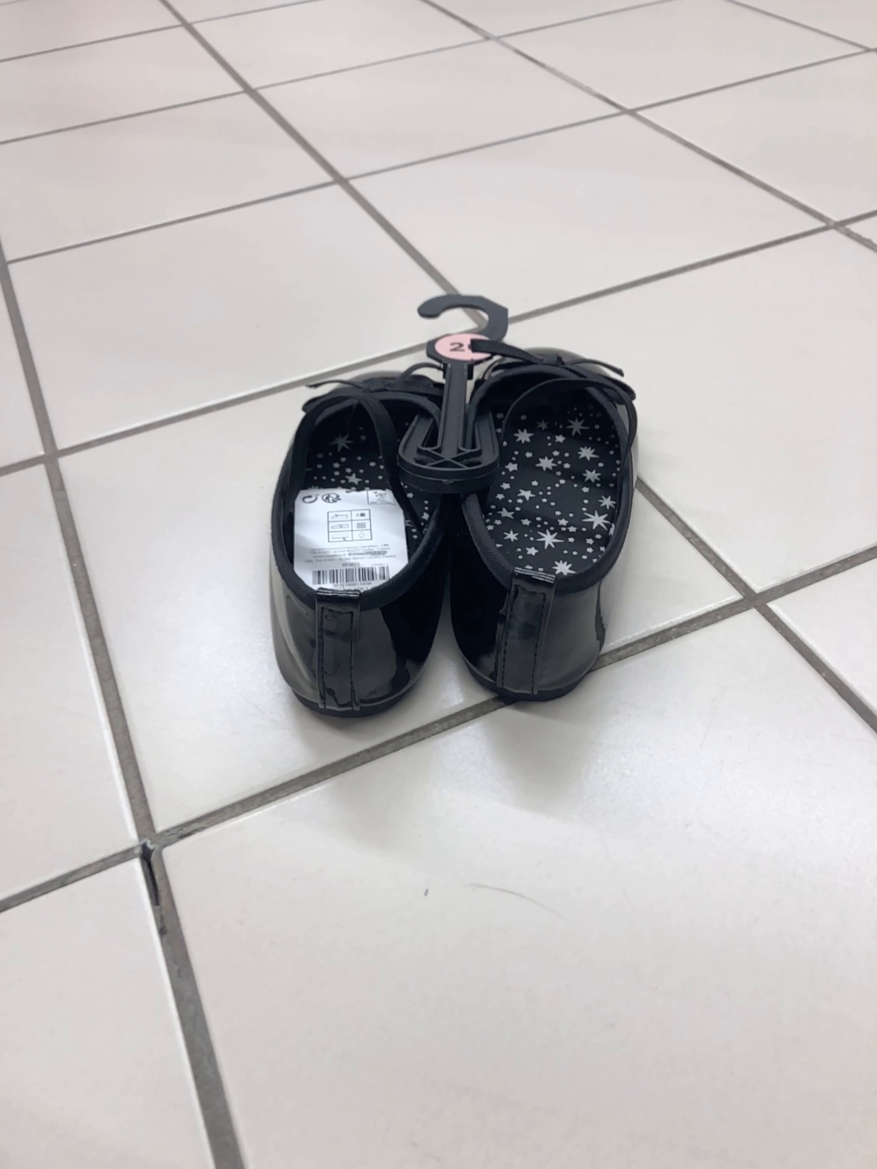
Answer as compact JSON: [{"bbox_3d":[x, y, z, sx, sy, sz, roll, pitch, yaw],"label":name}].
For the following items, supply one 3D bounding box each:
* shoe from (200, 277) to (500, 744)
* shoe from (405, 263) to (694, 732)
[{"bbox_3d":[-0.020,-0.035,0.325,0.074,0.055,0.172,-2,44,3],"label":"shoe"},{"bbox_3d":[0.036,-0.039,0.327,0.072,0.059,0.174,0,44,6],"label":"shoe"}]
